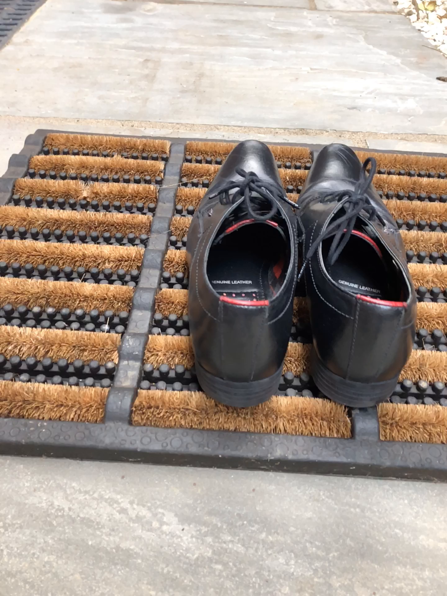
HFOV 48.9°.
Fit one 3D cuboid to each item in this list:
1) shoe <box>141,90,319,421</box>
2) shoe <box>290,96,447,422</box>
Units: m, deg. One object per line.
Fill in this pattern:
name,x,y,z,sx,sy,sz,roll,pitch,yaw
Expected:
shoe,0.012,-0.060,0.417,0.100,0.099,0.302,5,46,1
shoe,0.118,-0.058,0.424,0.100,0.099,0.302,5,46,1
